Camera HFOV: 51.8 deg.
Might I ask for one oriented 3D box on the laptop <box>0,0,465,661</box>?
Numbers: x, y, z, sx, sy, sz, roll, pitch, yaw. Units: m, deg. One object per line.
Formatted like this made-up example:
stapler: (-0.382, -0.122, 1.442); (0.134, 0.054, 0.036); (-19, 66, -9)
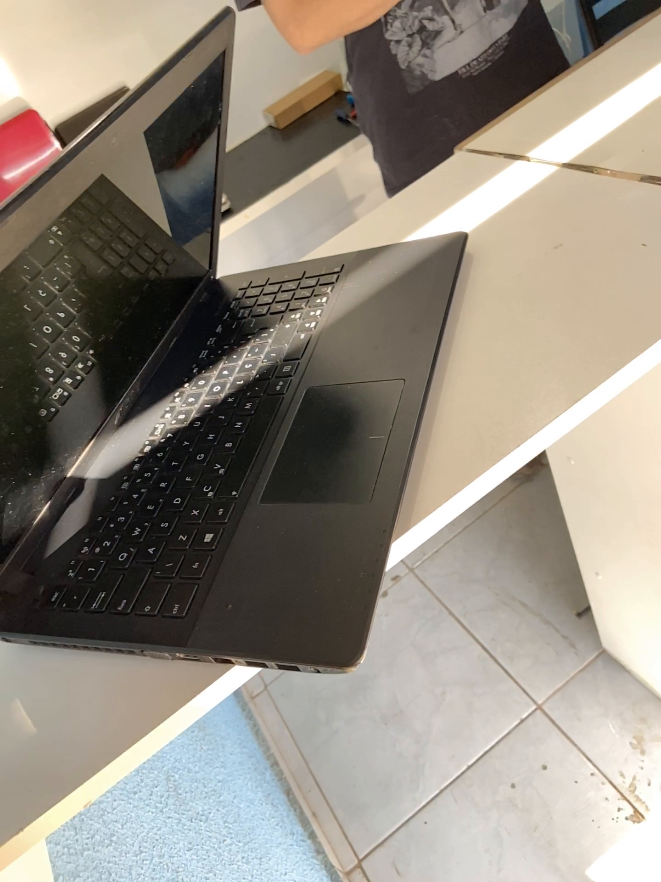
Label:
laptop: (-0.088, -0.094, 0.425); (0.239, 0.190, 0.374); (-4, 44, 27)
